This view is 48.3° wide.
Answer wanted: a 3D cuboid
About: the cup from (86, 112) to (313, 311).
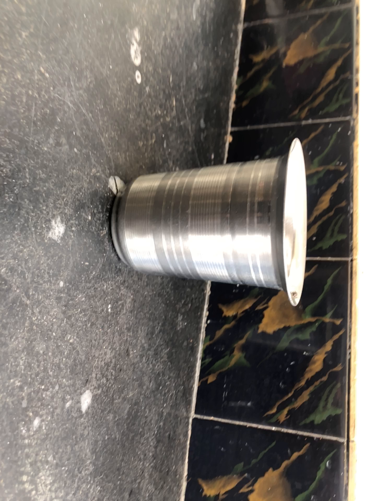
[{"bbox_3d":[0.013,-0.019,0.250,0.091,0.109,0.090,1,90,-69],"label":"cup"}]
